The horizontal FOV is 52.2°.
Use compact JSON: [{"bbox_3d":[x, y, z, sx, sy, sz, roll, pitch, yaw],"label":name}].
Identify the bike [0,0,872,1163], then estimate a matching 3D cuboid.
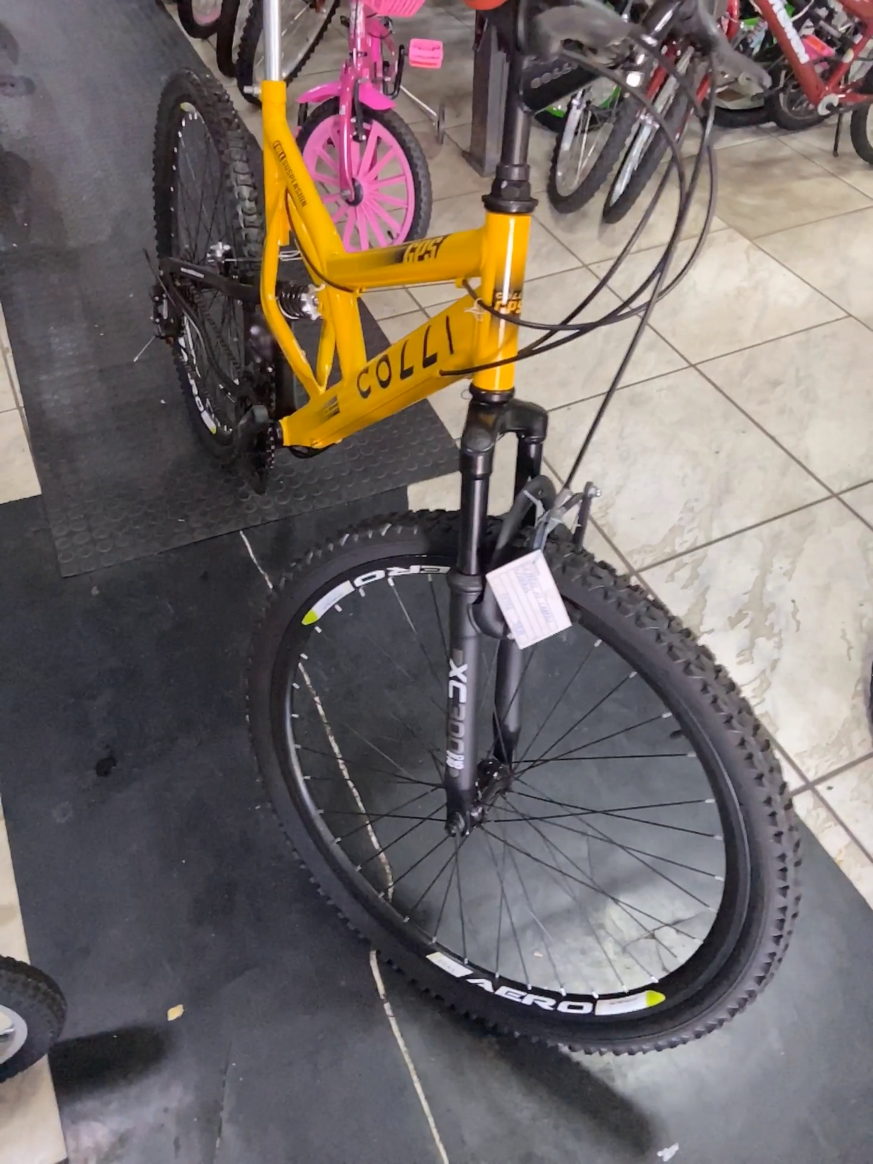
[{"bbox_3d":[-0.127,-0.330,1.001,0.476,0.987,1.525,-25,52,-20],"label":"bike"}]
